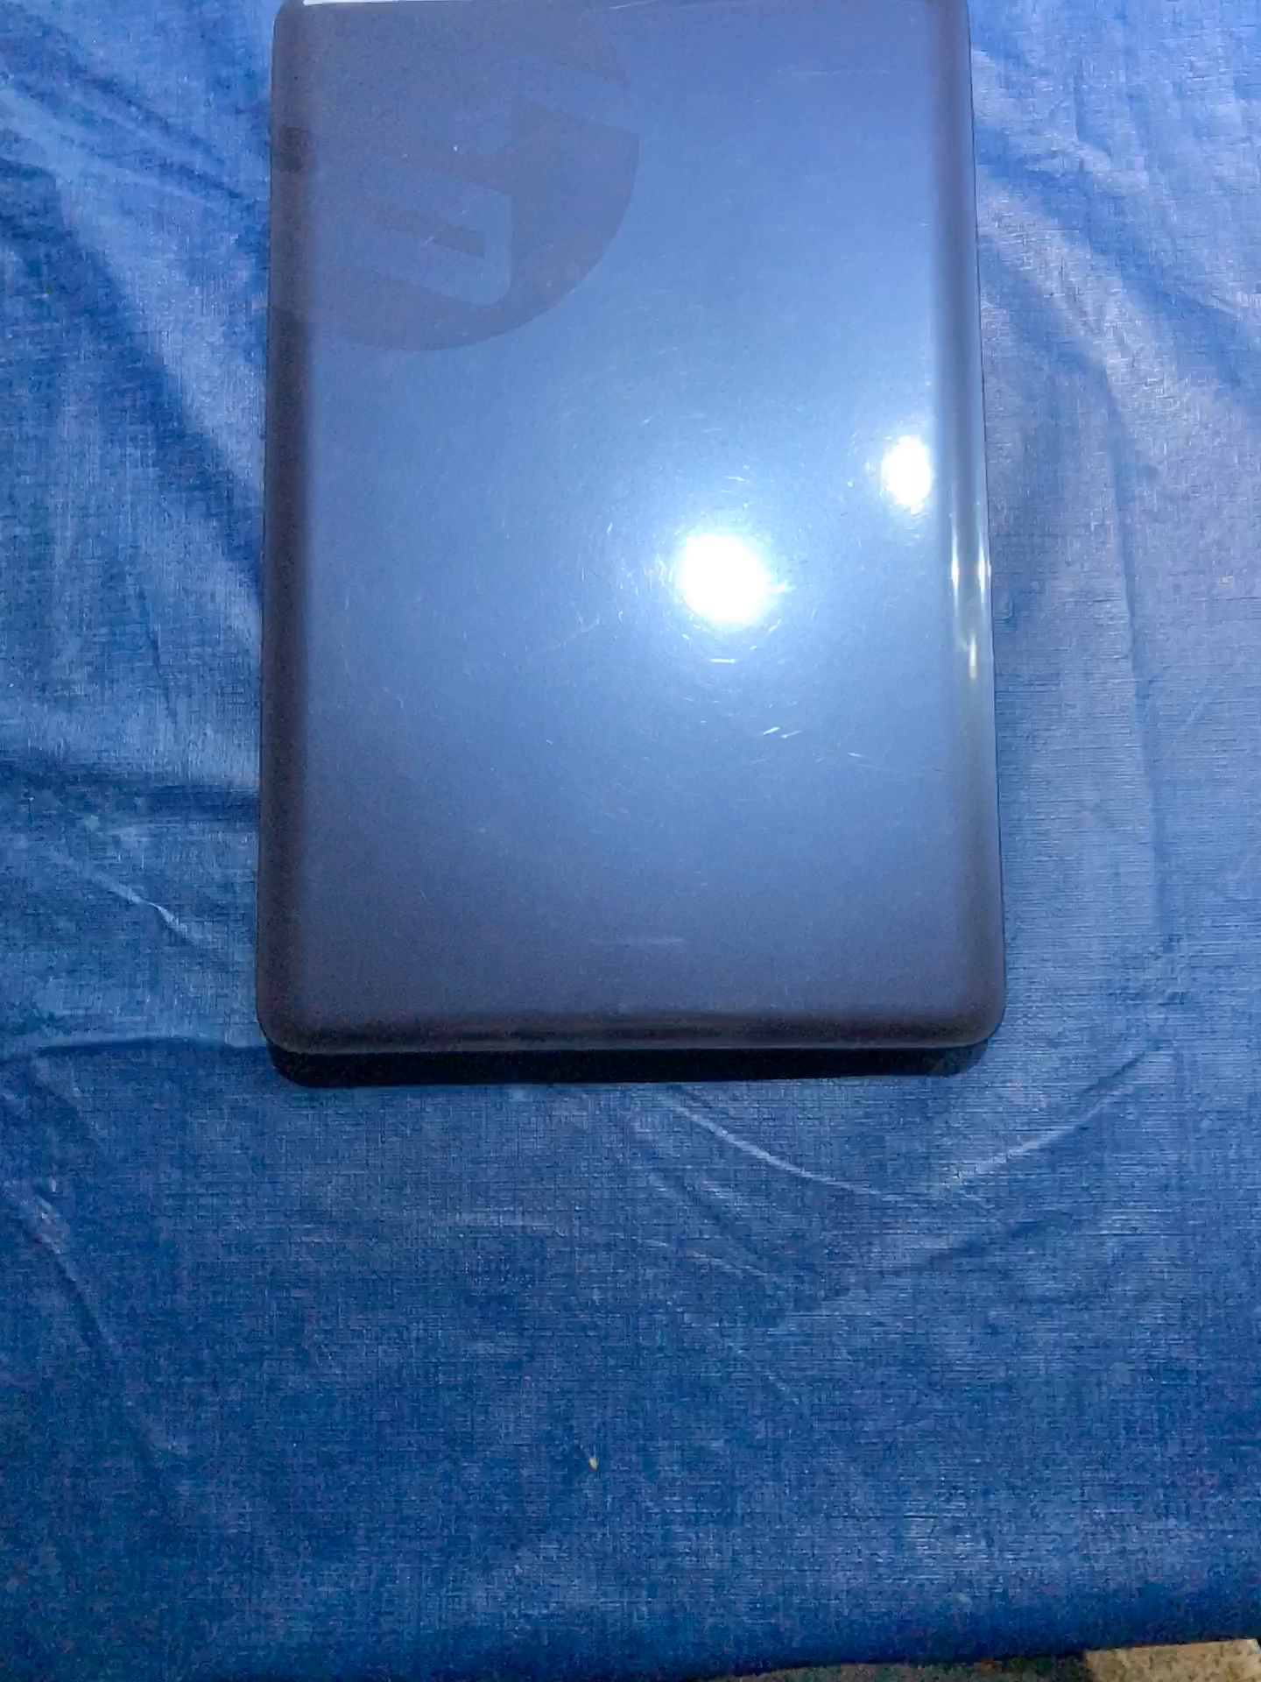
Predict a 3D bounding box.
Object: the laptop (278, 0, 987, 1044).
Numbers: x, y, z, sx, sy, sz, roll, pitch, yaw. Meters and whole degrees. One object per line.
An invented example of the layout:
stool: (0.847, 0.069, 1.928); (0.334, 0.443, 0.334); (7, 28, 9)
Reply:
laptop: (-0.002, -0.115, 0.447); (0.235, 0.009, 0.363); (-1, 86, 1)
